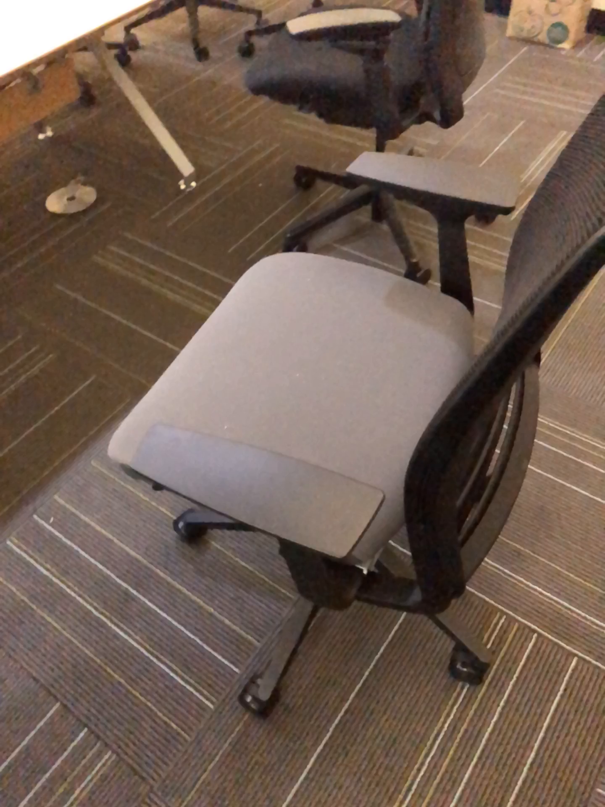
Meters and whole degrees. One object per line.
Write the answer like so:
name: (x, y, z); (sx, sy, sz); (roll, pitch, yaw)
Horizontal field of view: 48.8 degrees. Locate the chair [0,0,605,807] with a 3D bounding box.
chair: (0.056, -0.050, 0.901); (0.661, 0.856, 0.722); (15, 51, 17)
